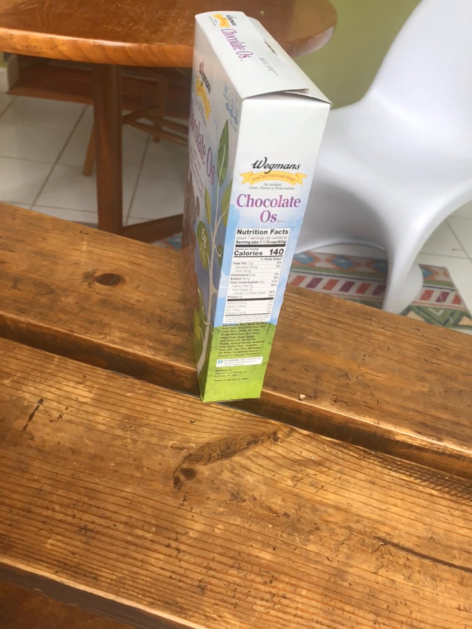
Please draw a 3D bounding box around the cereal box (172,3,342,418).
[{"bbox_3d":[-0.008,-0.085,0.451,0.060,0.278,0.211,-2,42,-13],"label":"cereal box"}]
